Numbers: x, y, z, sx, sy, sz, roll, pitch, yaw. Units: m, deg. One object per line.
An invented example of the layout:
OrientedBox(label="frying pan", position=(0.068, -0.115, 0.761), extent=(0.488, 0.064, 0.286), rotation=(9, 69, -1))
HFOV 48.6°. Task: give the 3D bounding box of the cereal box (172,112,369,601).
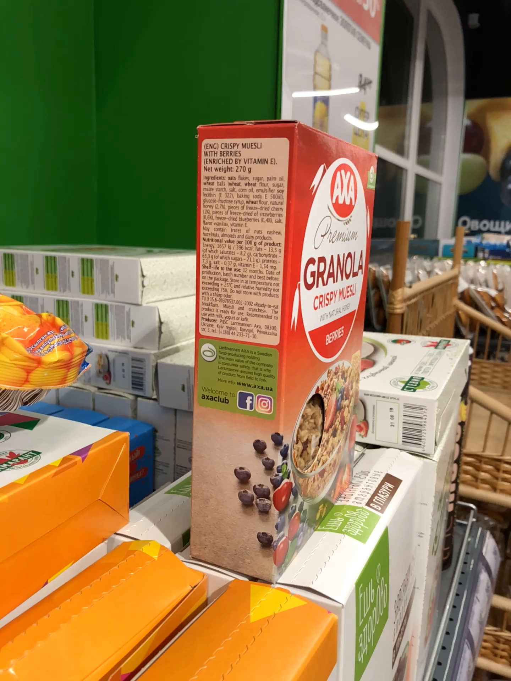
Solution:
OrientedBox(label="cereal box", position=(0.013, 0.002, 0.316), extent=(0.050, 0.219, 0.130), rotation=(8, 12, 25))
